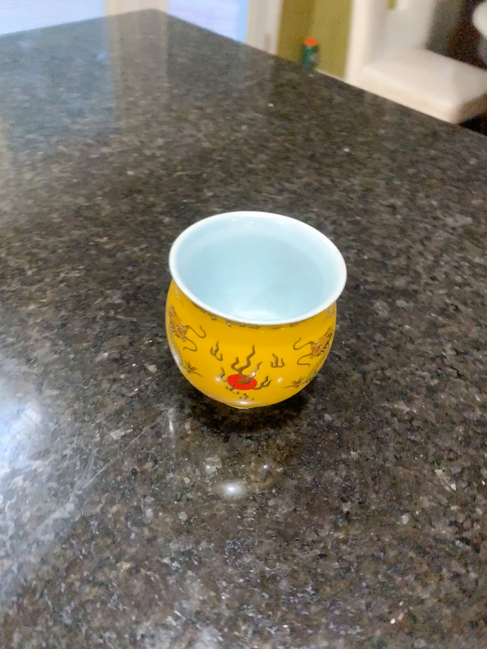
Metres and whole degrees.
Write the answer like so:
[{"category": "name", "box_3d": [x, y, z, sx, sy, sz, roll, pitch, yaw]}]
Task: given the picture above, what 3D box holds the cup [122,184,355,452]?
[{"category": "cup", "box_3d": [0.001, -0.005, 0.212, 0.072, 0.066, 0.076, 3, 44, -3]}]
